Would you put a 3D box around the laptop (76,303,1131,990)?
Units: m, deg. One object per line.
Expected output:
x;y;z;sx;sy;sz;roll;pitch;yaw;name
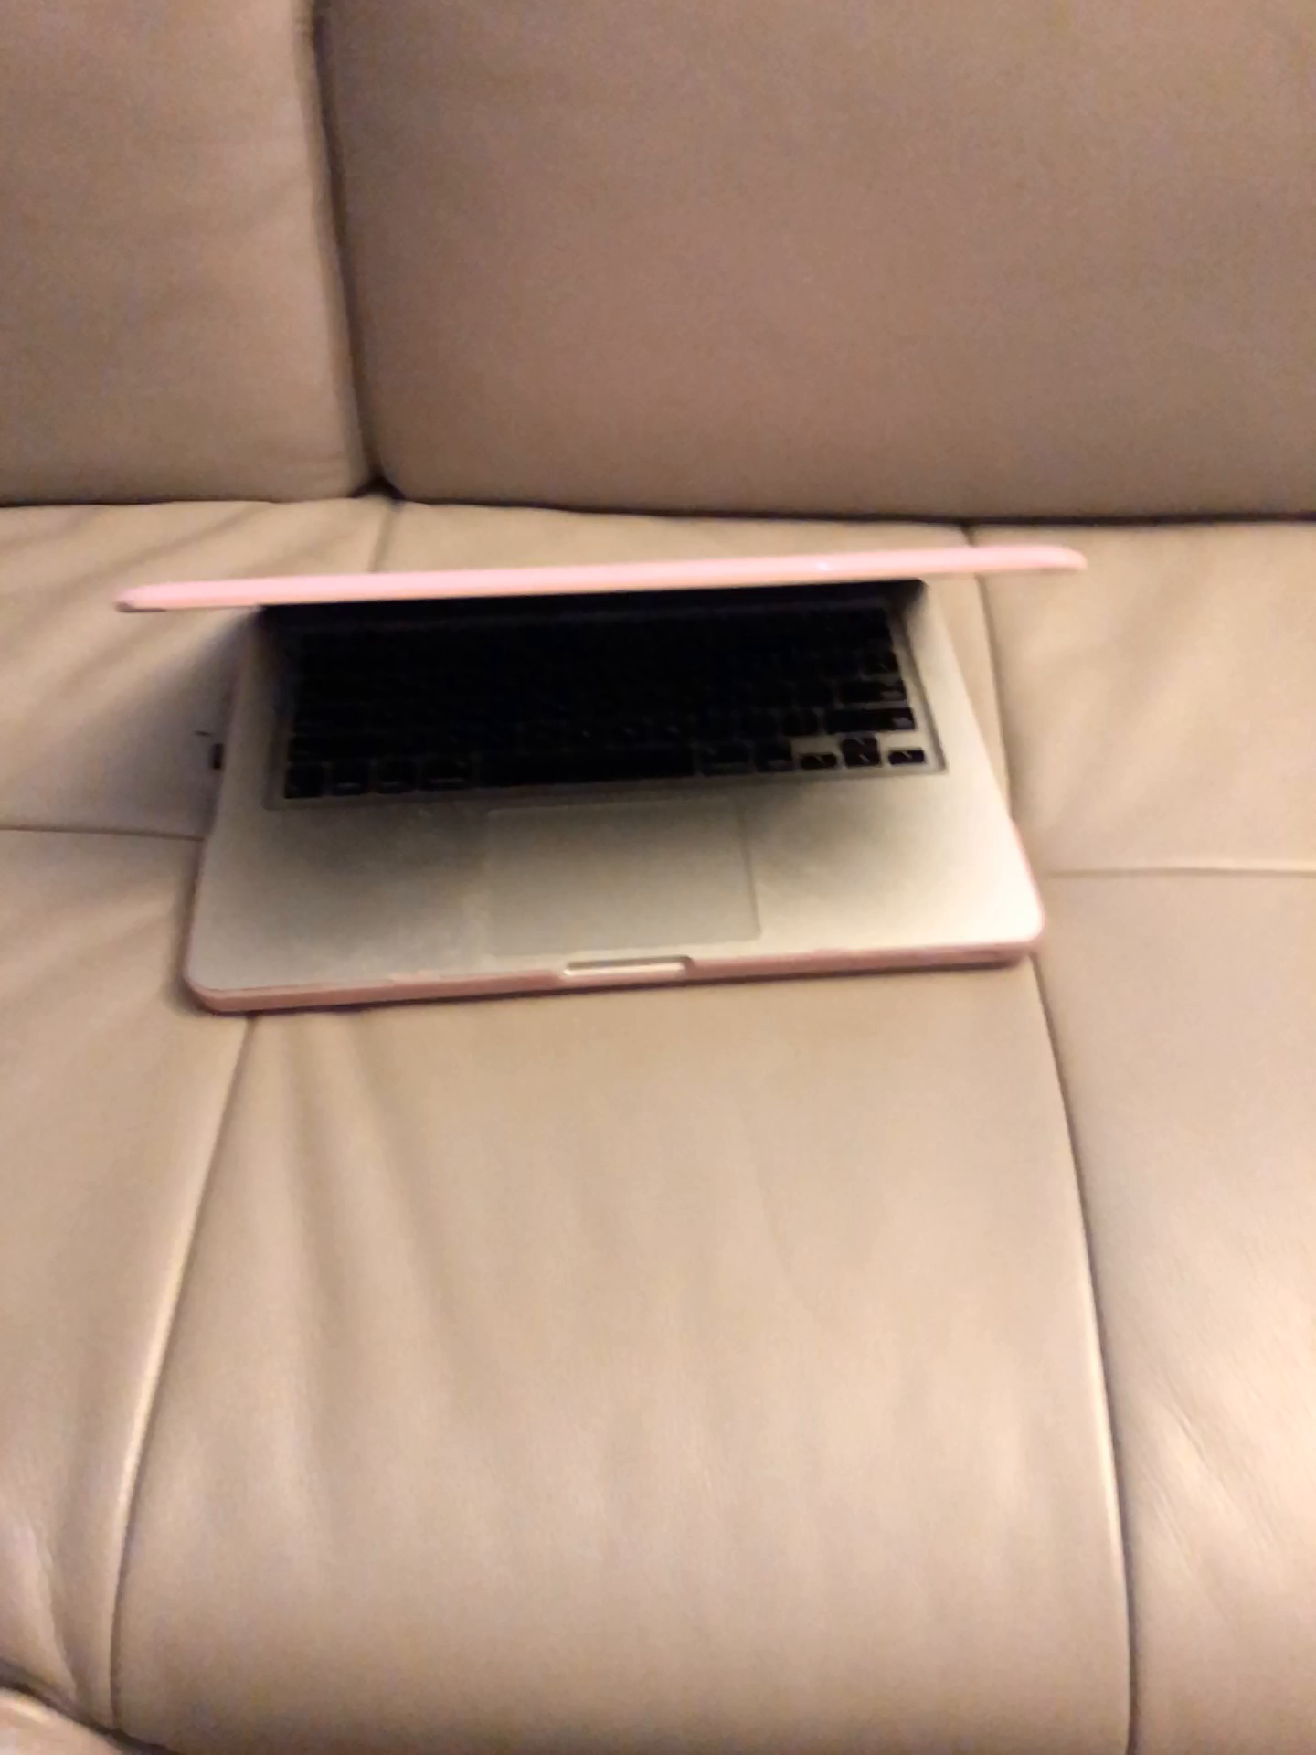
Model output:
-0.021;-0.094;0.548;0.307;0.145;0.220;-4;50;-3;laptop
